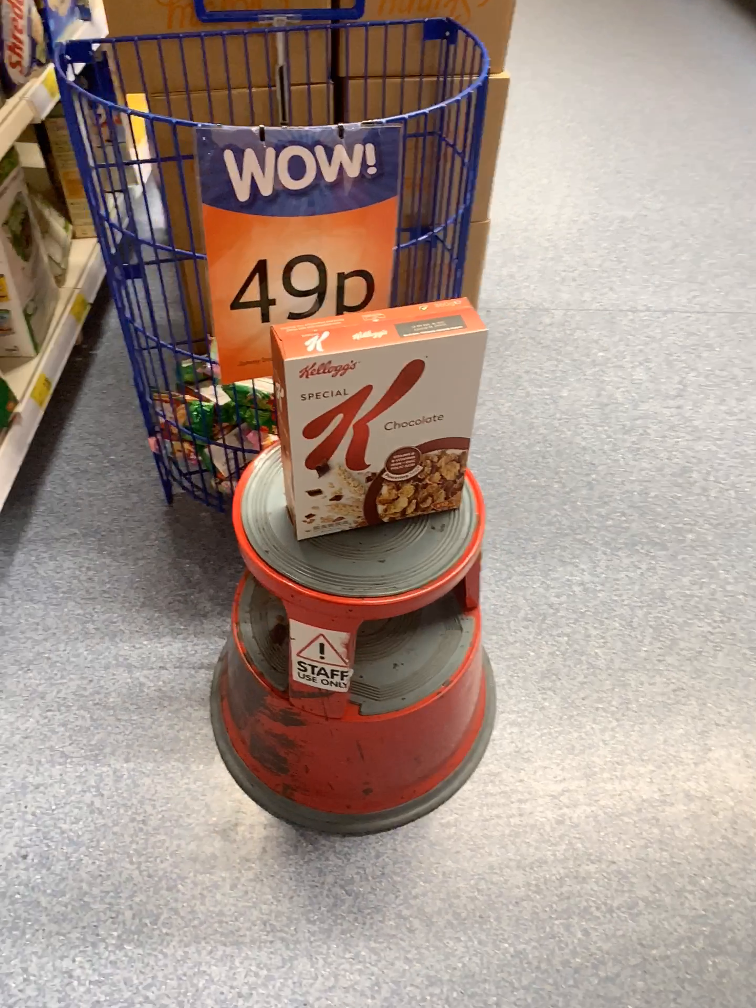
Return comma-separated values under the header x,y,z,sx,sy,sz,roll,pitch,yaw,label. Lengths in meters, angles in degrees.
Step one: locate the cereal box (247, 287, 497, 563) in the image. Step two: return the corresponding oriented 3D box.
x,y,z,sx,sy,sz,roll,pitch,yaw,label
-0.009,-0.069,0.769,0.210,0.267,0.061,-10,47,-12,cereal box
